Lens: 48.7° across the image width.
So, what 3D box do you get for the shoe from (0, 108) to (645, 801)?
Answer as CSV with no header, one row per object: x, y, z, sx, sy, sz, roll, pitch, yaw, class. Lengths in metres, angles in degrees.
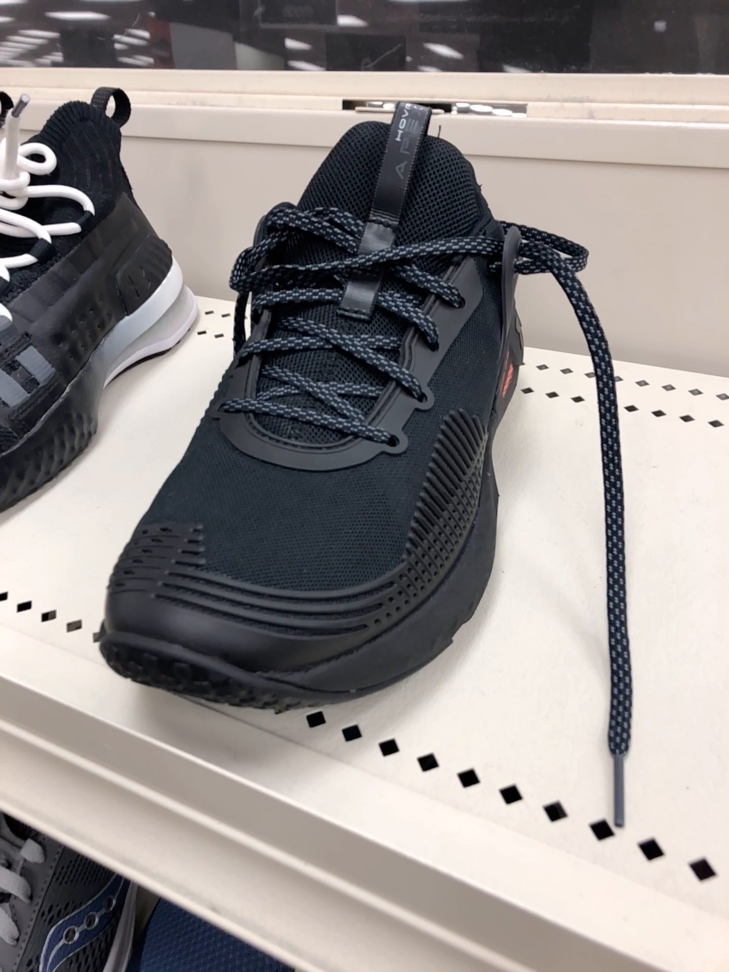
0.021,-0.069,0.333,0.120,0.129,0.353,12,32,21,shoe
